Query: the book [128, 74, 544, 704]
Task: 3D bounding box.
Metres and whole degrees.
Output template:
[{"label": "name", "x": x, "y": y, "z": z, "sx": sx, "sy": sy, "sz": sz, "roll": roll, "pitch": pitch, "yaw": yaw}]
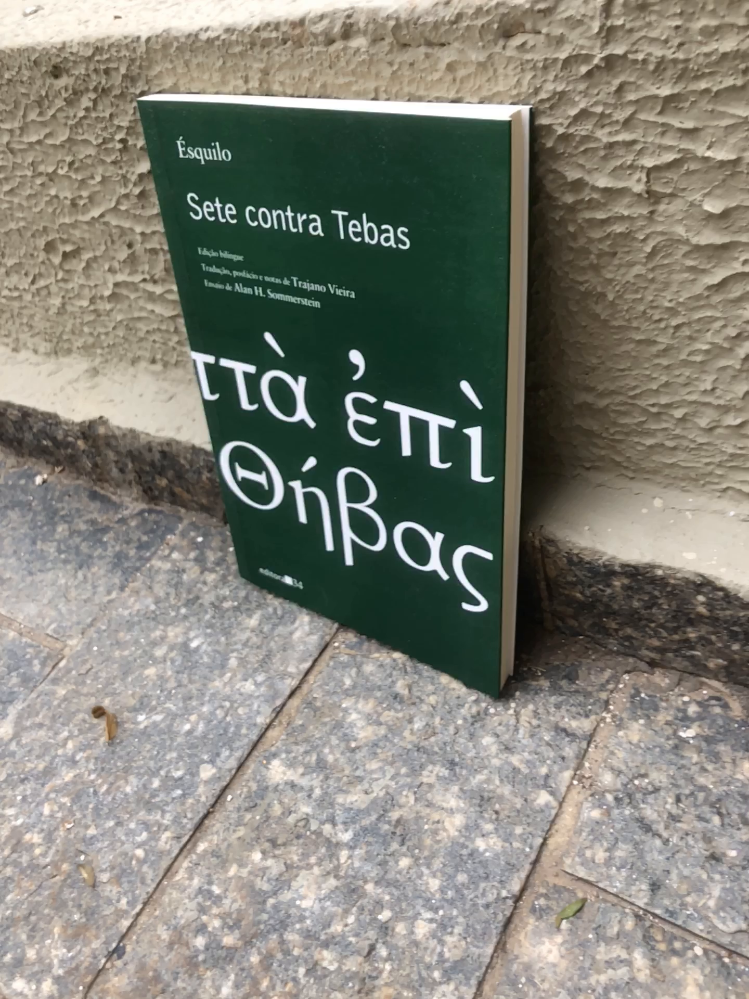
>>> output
[{"label": "book", "x": -0.012, "y": -0.035, "z": 0.288, "sx": 0.140, "sy": 0.195, "sz": 0.020, "roll": 19, "pitch": 39, "yaw": 34}]
